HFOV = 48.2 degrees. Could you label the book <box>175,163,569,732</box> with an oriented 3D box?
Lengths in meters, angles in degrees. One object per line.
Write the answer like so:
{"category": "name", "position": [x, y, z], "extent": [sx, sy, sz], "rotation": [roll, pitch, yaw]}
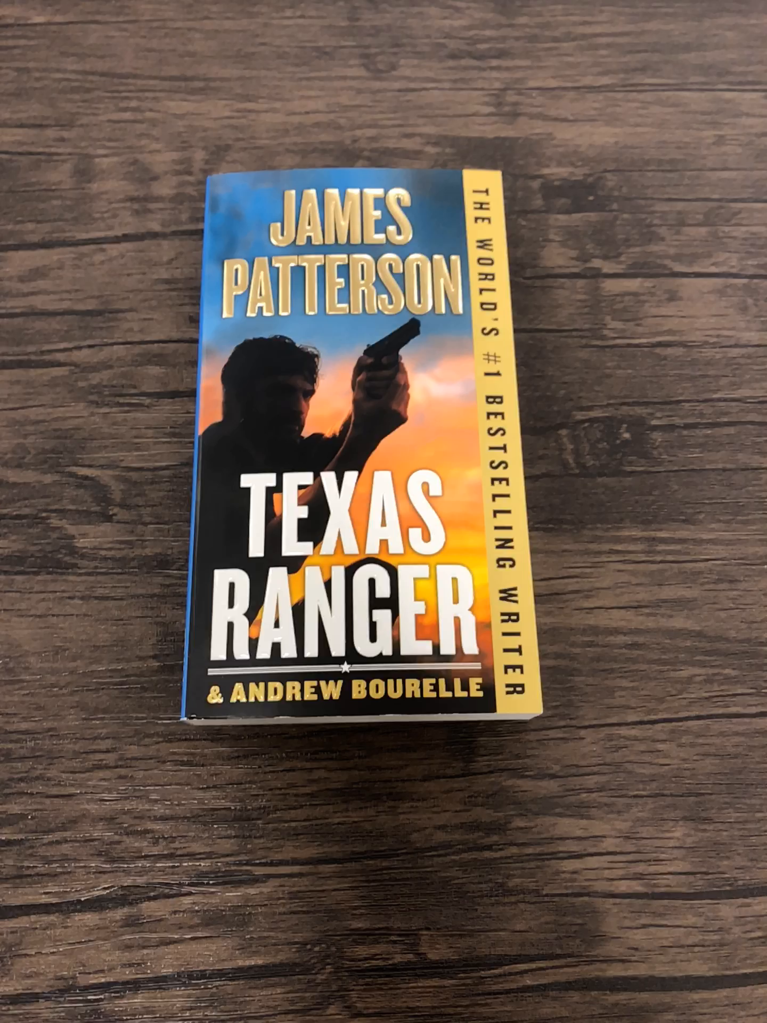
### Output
{"category": "book", "position": [-0.006, -0.024, 0.278], "extent": [0.107, 0.040, 0.181], "rotation": [-1, 72, -4]}
